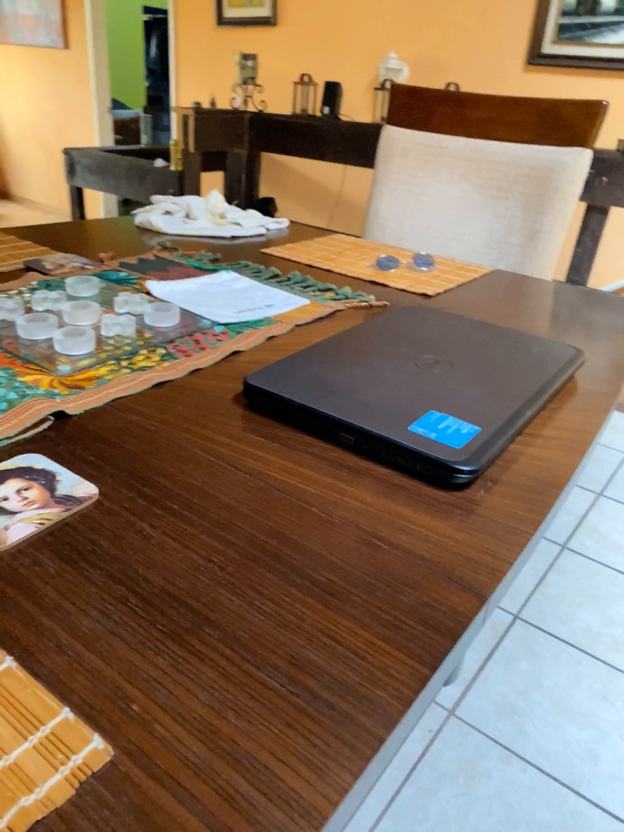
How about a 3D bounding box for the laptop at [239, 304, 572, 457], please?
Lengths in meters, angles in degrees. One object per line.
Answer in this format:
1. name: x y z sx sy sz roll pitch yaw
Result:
1. laptop: 0.126 -0.064 0.729 0.248 0.001 0.354 21 31 29
